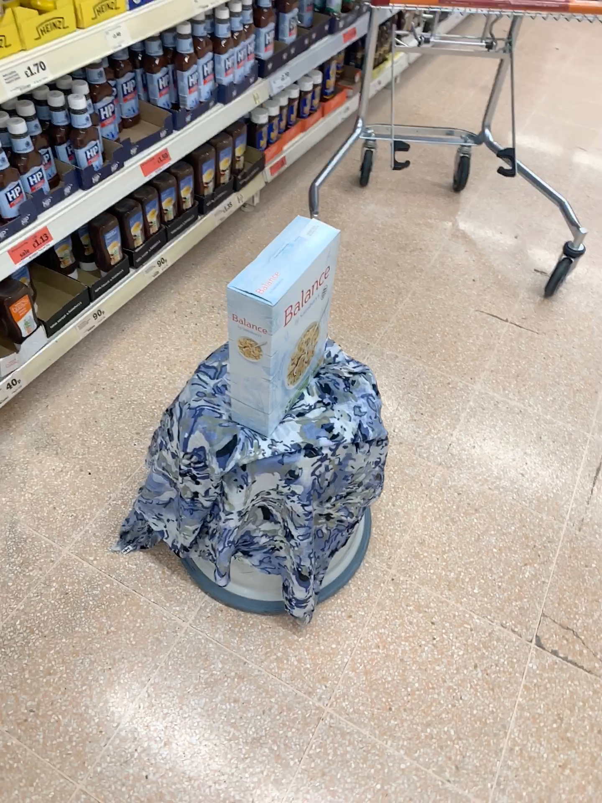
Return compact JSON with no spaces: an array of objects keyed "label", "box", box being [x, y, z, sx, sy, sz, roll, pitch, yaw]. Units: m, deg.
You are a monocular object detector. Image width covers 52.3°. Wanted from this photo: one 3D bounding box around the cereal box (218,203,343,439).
[{"label":"cereal box","box":[-0.031,-0.115,0.921,0.070,0.278,0.212,25,51,16]}]
